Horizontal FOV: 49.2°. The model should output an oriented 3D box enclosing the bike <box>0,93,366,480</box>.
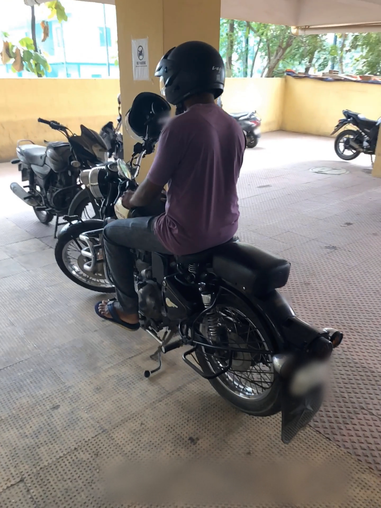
[{"bbox_3d":[-0.242,-0.068,2.118,1.766,1.097,0.728,27,34,36],"label":"bike"}]
